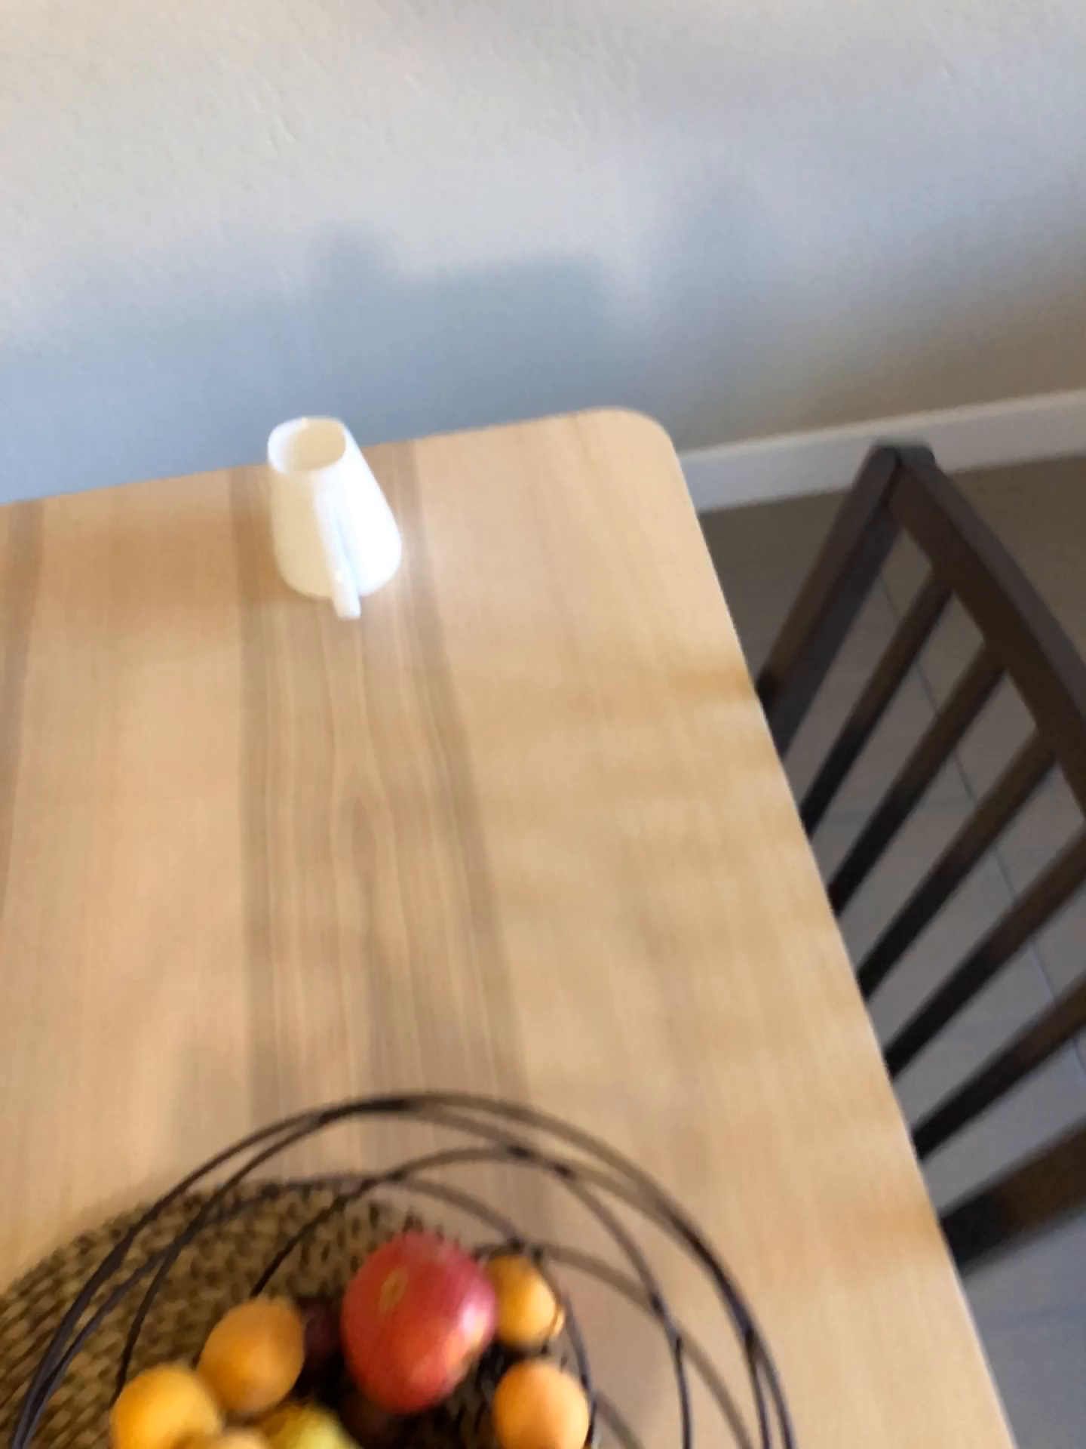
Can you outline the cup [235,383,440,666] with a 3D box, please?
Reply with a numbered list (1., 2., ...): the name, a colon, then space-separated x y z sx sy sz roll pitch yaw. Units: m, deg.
1. cup: -0.148 -0.145 0.879 0.100 0.120 0.140 -16 55 -9
